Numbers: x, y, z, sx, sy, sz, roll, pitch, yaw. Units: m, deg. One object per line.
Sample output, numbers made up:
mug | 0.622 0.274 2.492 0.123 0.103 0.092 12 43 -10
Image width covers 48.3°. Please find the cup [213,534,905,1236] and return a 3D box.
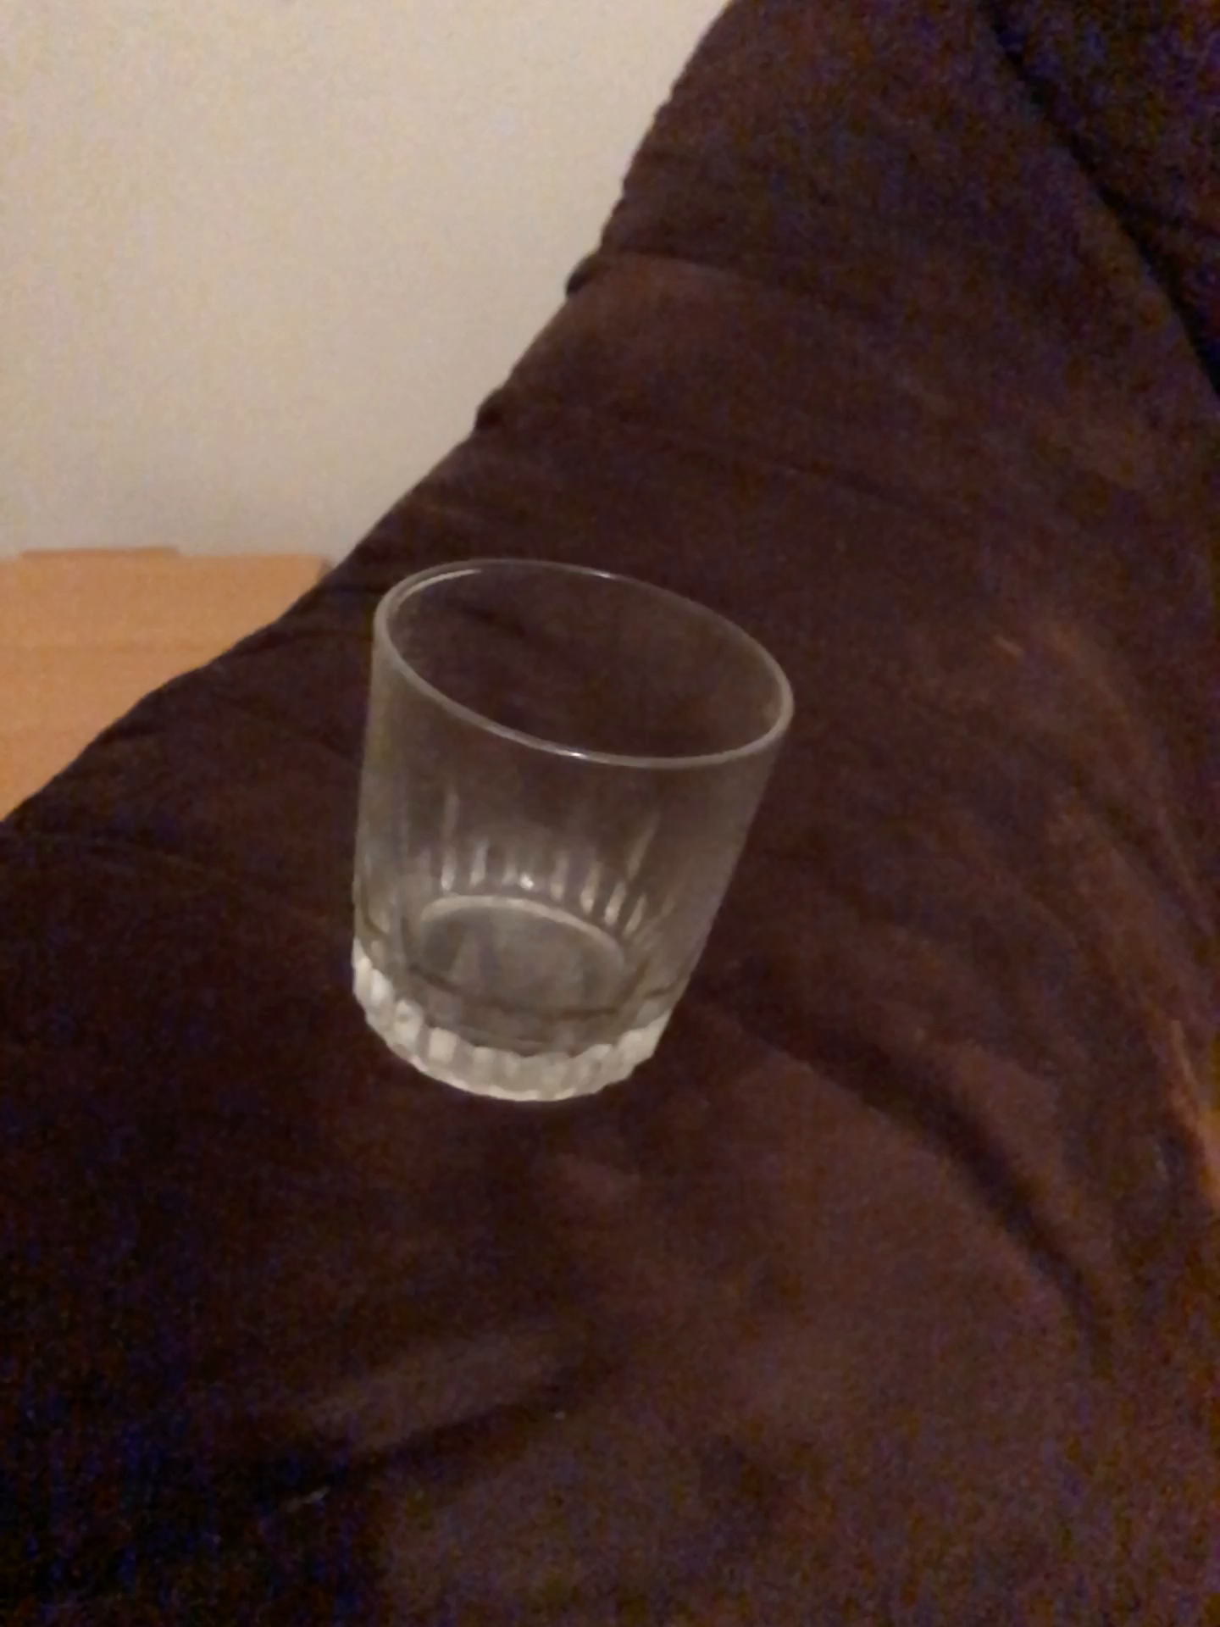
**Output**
cup | -0.013 0.006 0.270 0.087 0.086 0.087 11 29 -6
